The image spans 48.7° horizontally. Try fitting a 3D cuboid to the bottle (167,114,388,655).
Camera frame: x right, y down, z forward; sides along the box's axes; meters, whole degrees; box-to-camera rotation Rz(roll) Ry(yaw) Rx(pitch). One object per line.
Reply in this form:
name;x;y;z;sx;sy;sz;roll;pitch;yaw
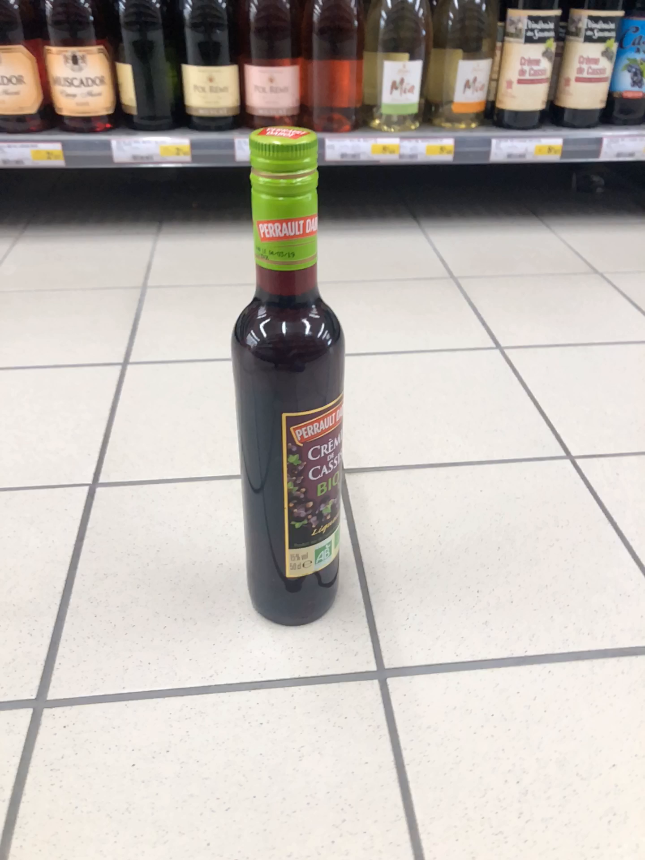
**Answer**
bottle;-0.020;-0.011;0.396;0.070;0.288;0.070;1;33;0
